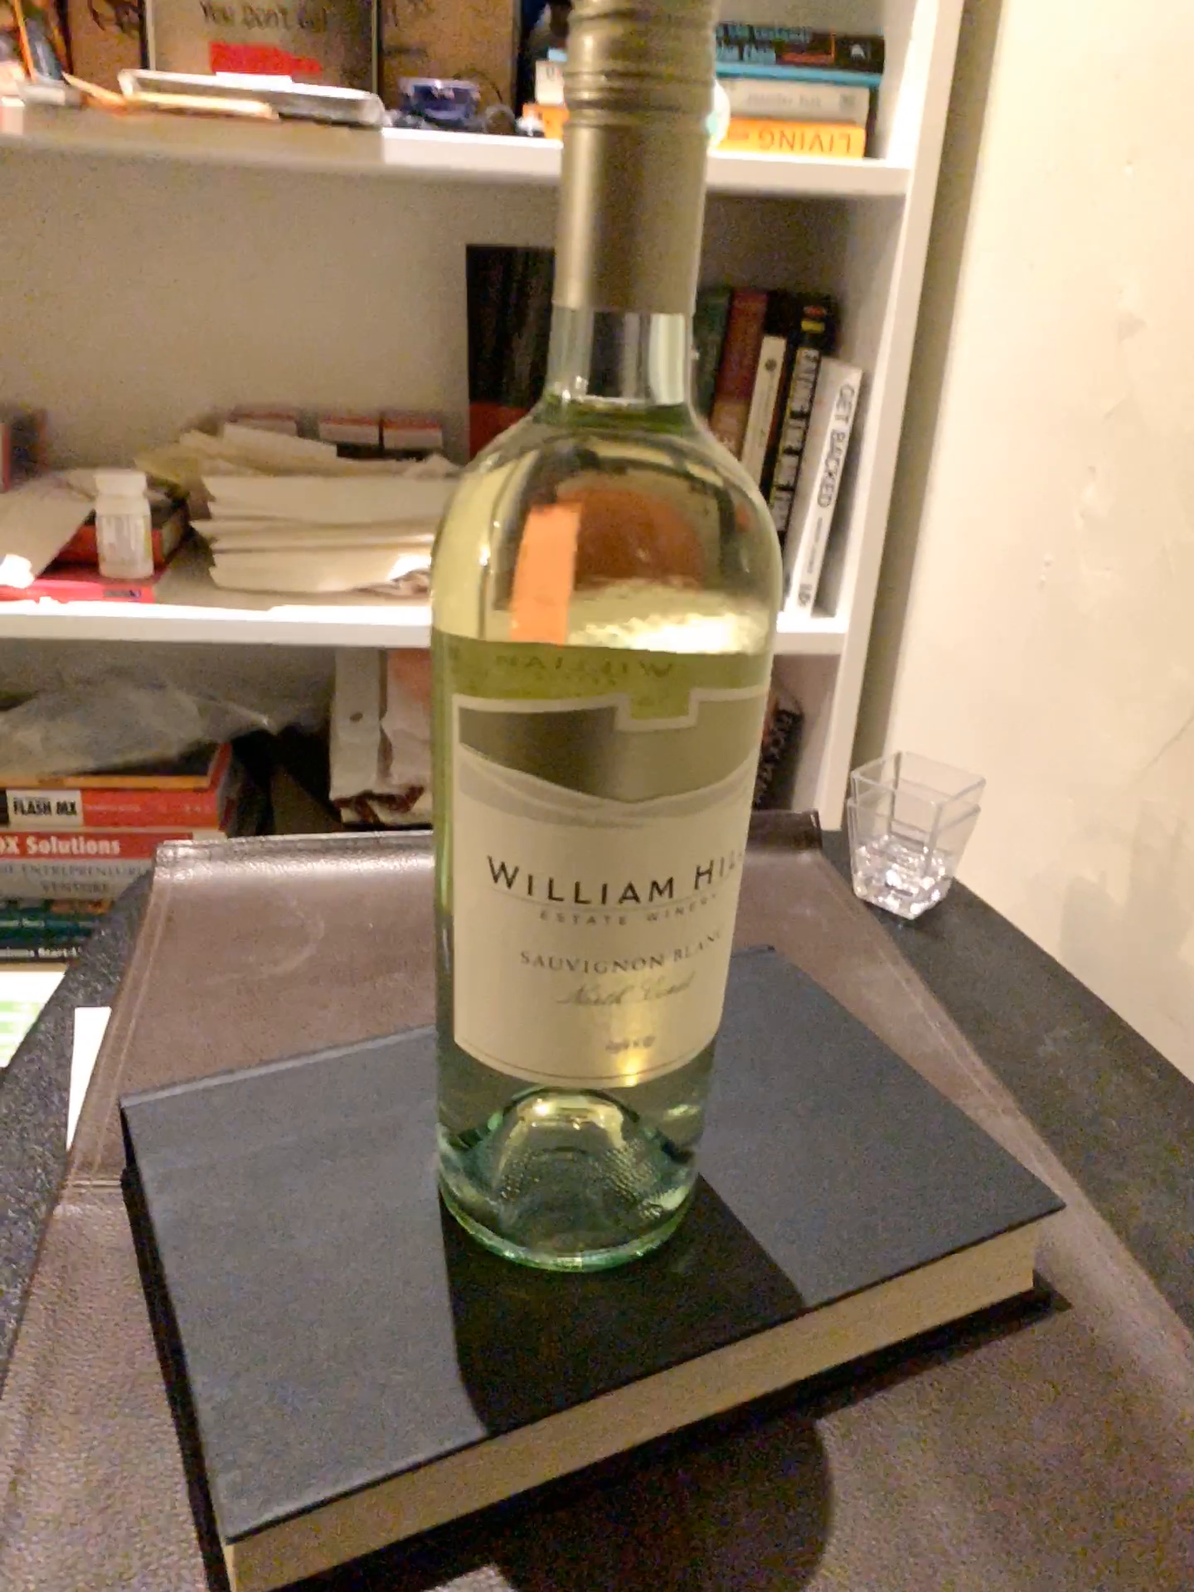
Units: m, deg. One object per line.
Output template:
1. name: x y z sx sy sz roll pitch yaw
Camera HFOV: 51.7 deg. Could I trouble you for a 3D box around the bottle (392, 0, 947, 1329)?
1. bottle: 0.000 -0.021 0.308 0.090 0.298 0.090 3 23 -1
